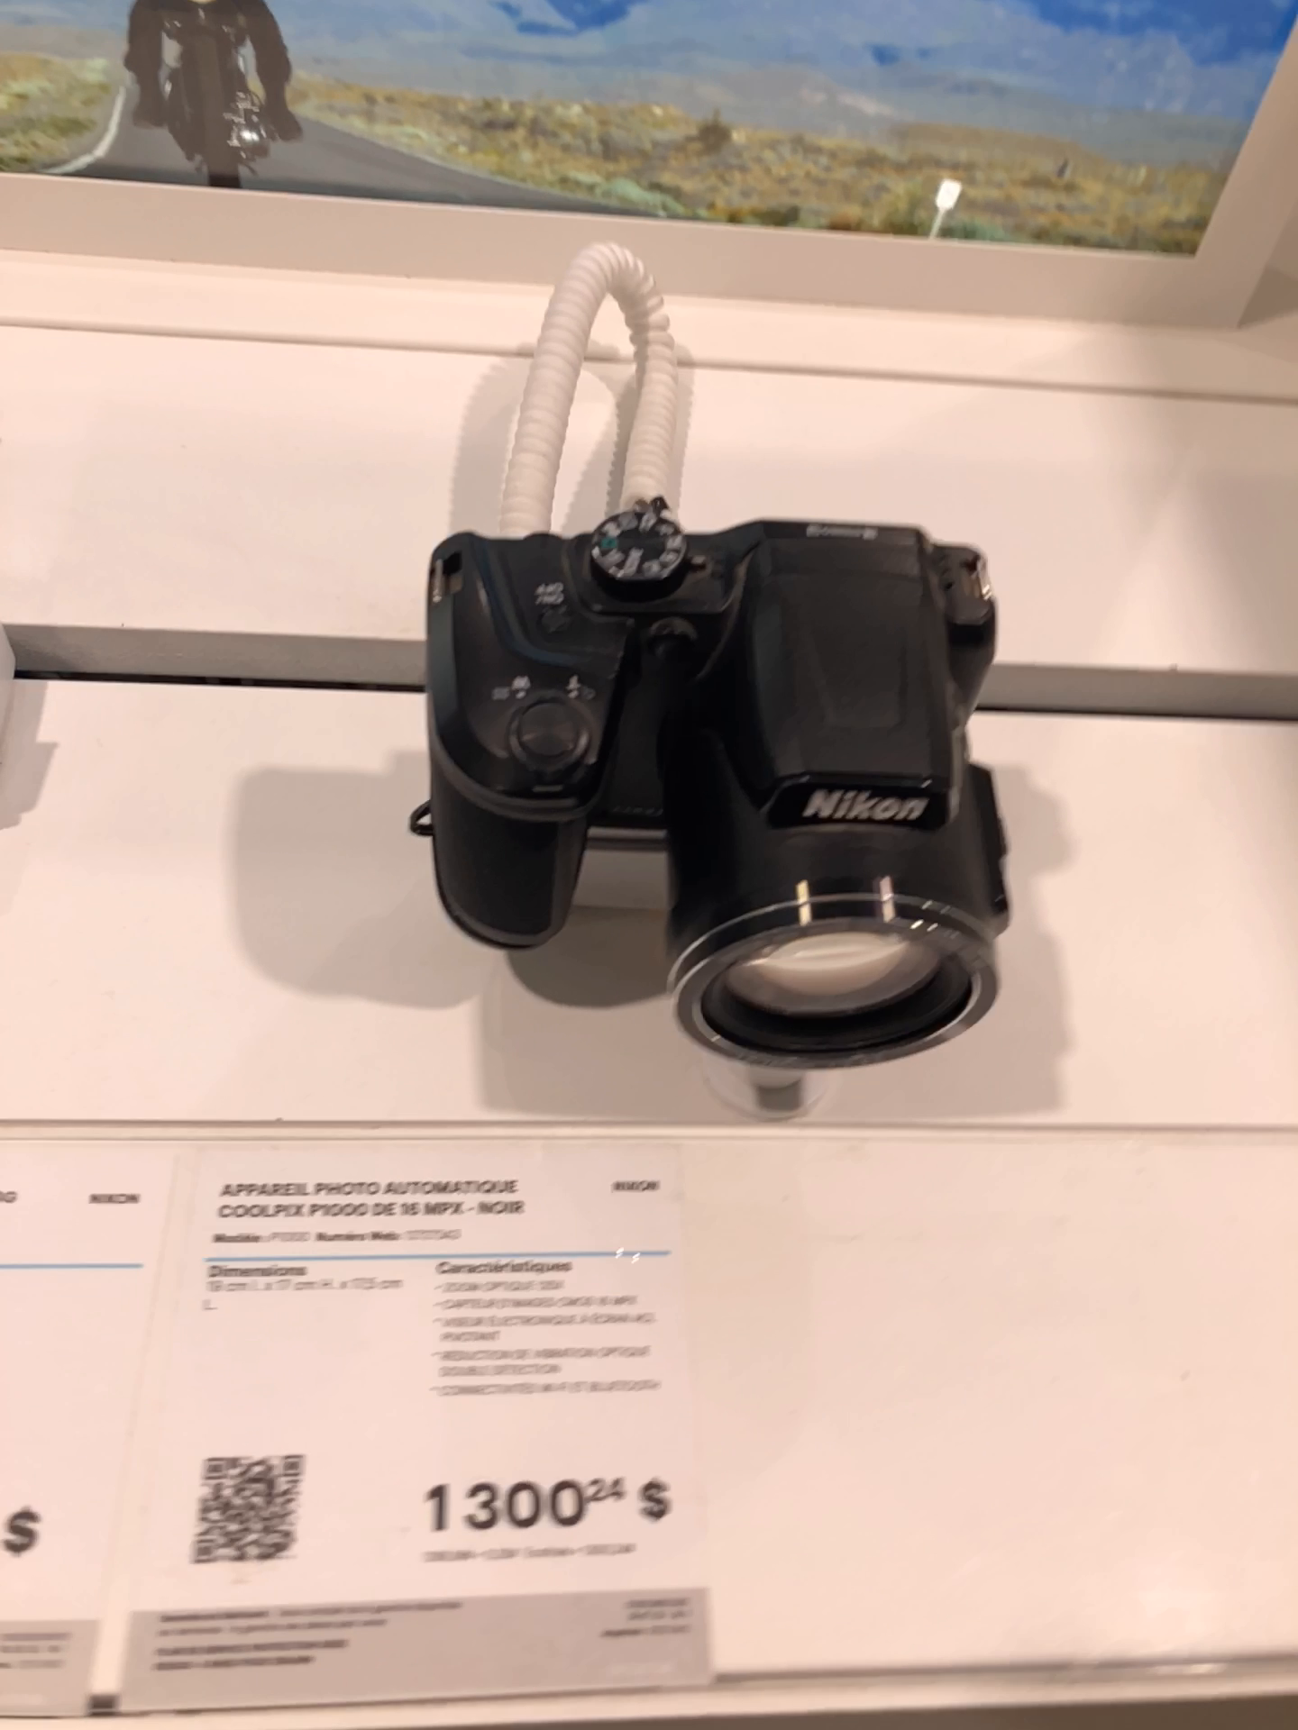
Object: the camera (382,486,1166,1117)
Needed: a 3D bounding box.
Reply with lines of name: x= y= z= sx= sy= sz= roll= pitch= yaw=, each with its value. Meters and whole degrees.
camera: x=0.014 y=-0.012 z=0.265 sx=0.117 sy=0.067 sz=0.092 roll=0 pitch=53 yaw=-7
